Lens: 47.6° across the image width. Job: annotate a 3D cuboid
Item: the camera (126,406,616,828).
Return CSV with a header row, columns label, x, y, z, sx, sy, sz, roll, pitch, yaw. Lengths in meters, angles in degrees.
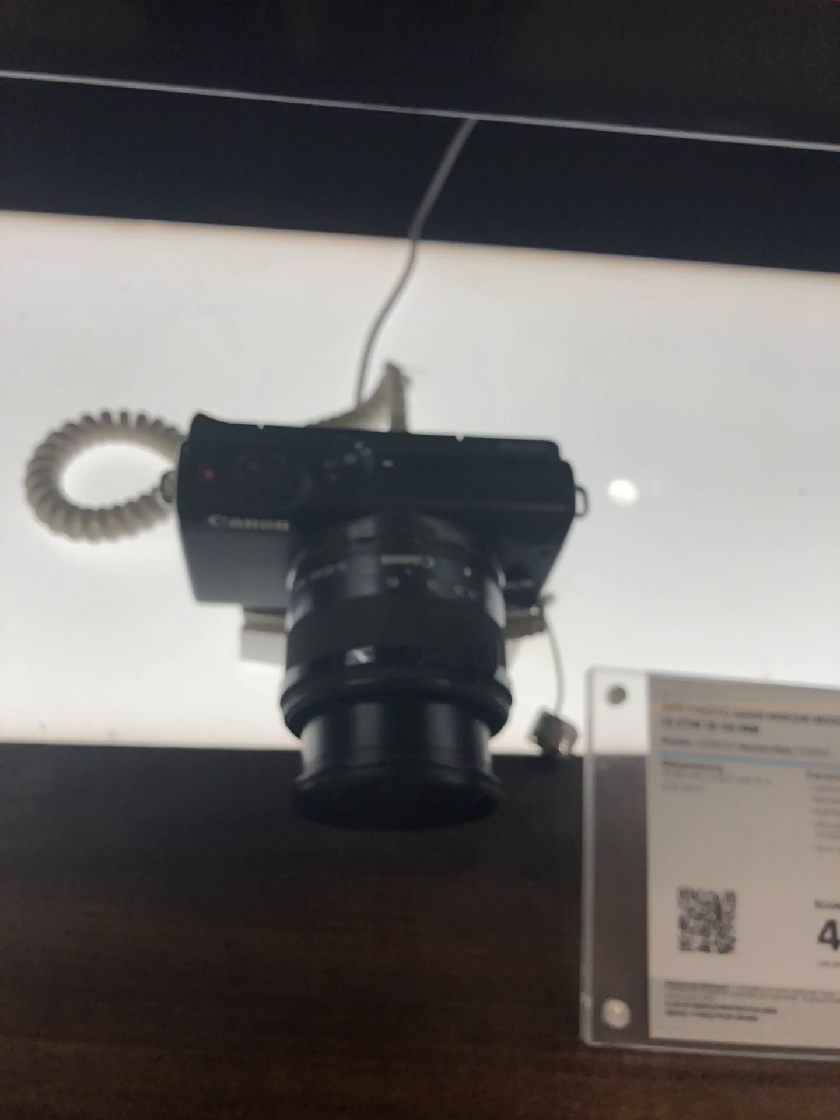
label,x,y,z,sx,sy,sz,roll,pitch,yaw
camera,-0.014,0.018,0.274,0.112,0.071,0.094,3,56,-5
